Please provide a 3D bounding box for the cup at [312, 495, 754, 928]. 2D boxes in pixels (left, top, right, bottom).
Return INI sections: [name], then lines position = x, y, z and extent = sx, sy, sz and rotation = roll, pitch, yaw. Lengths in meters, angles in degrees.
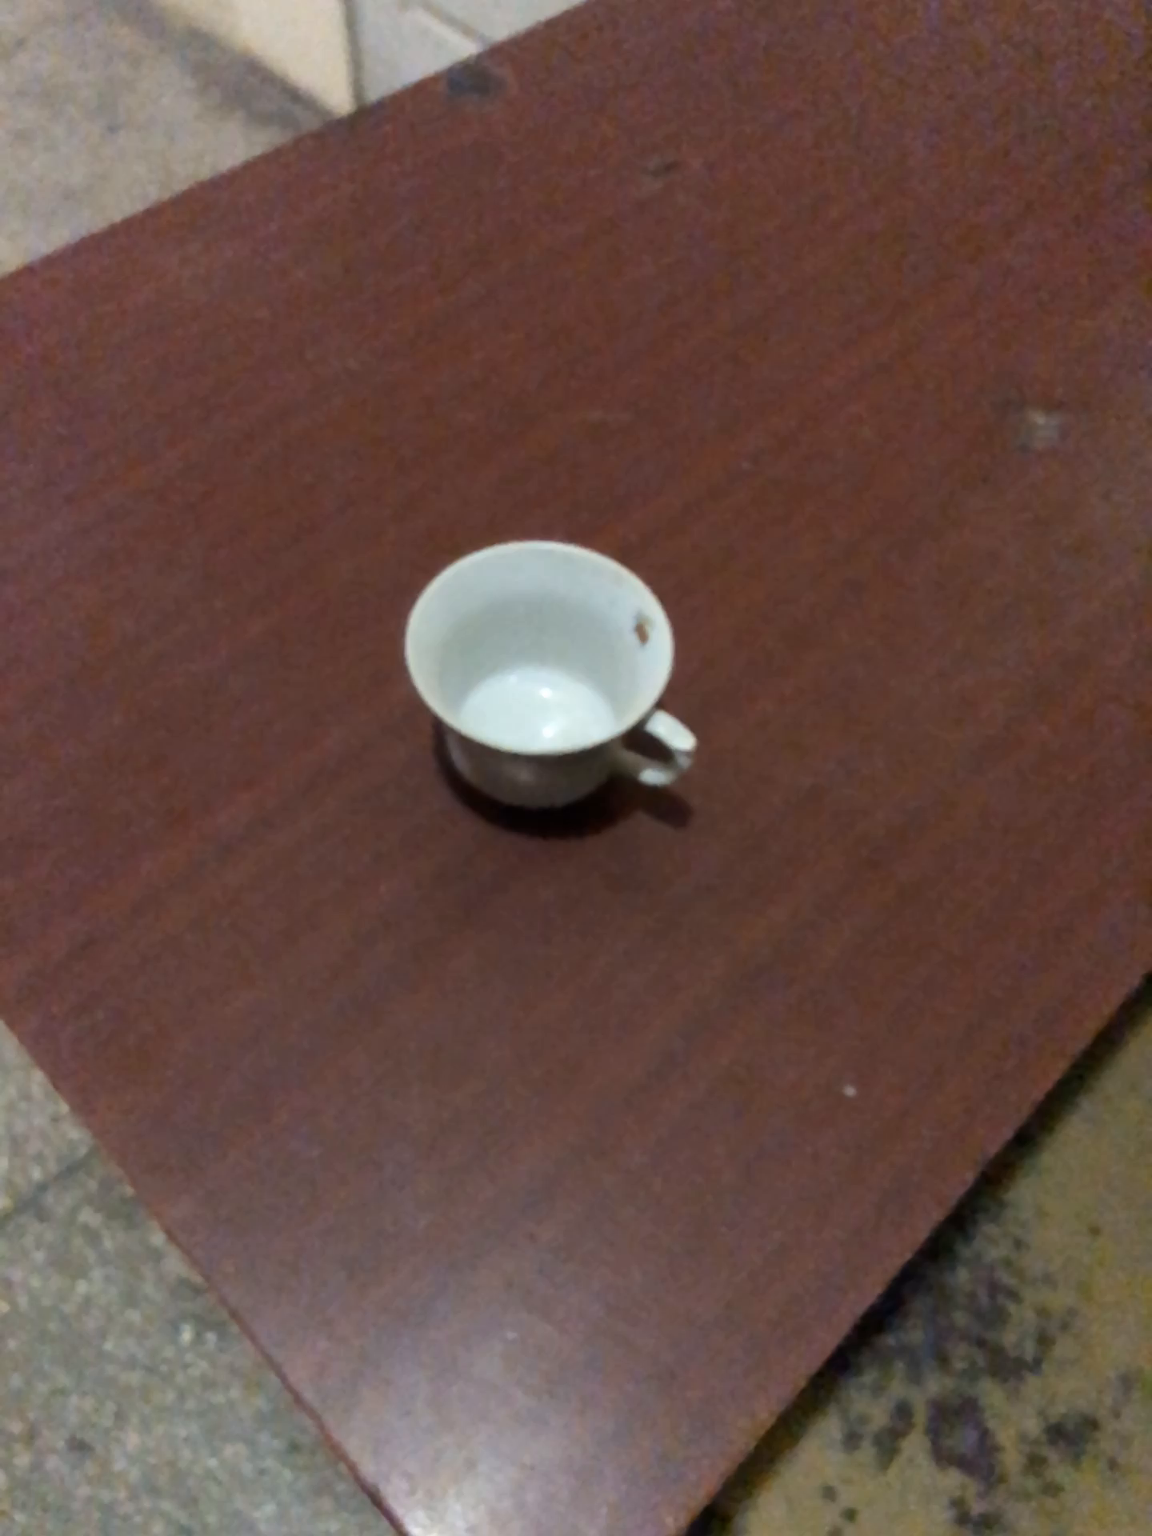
[cup]
position = -0.014, -0.023, 0.456
extent = 0.110, 0.059, 0.100
rotation = 33, 61, 19
